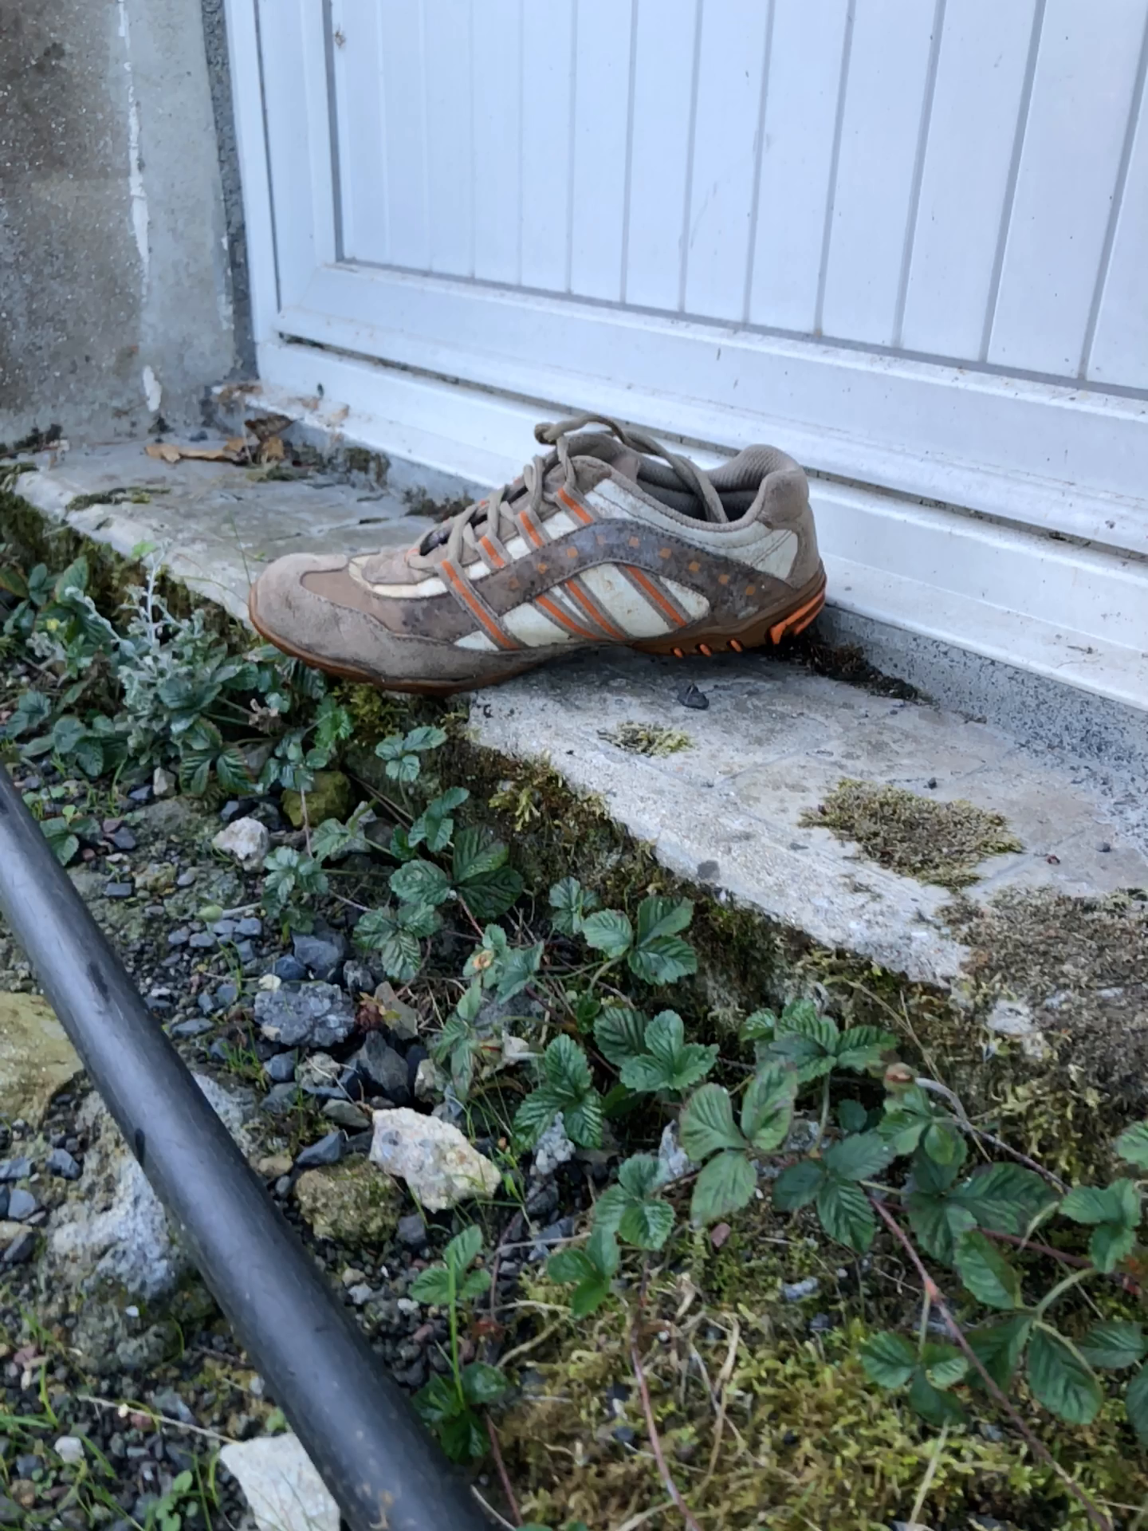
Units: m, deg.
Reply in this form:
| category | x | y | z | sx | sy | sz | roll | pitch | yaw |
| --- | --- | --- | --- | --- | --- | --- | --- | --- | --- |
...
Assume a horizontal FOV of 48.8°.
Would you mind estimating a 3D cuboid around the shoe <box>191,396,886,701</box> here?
| category | x | y | z | sx | sy | sz | roll | pitch | yaw |
| --- | --- | --- | --- | --- | --- | --- | --- | --- | --- |
| shoe | -0.014 | -0.100 | 0.562 | 0.270 | 0.099 | 0.111 | 1 | 26 | -1 |
